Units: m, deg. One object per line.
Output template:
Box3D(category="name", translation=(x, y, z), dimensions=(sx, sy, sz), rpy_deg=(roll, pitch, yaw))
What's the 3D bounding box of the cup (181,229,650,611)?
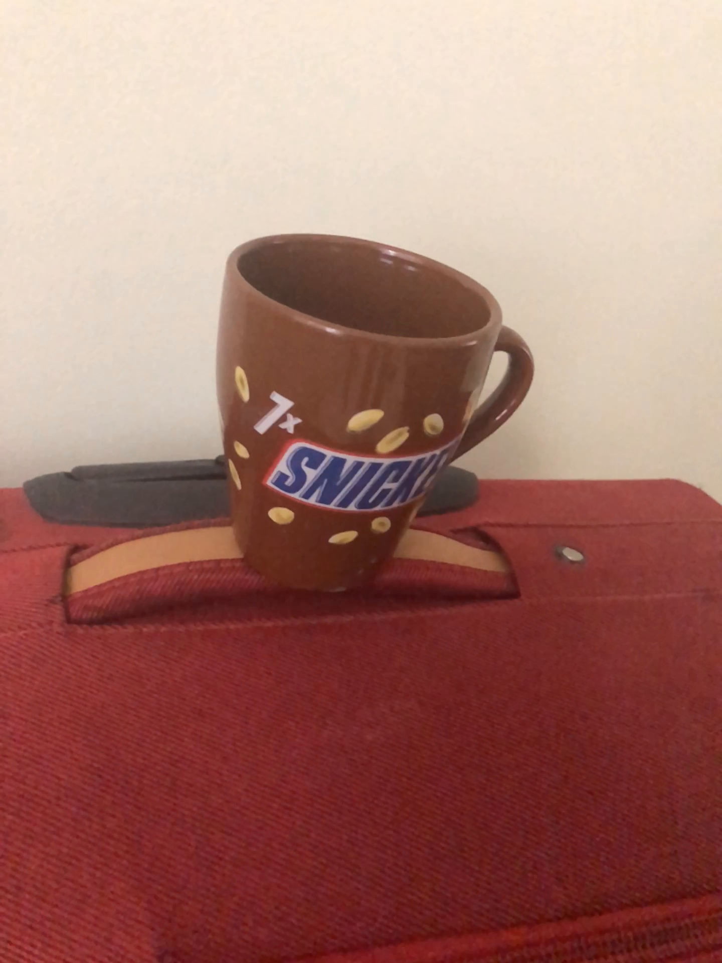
Box3D(category="cup", translation=(0.007, -0.025, 0.258), dimensions=(0.115, 0.080, 0.088), rpy_deg=(-4, 36, -20))
